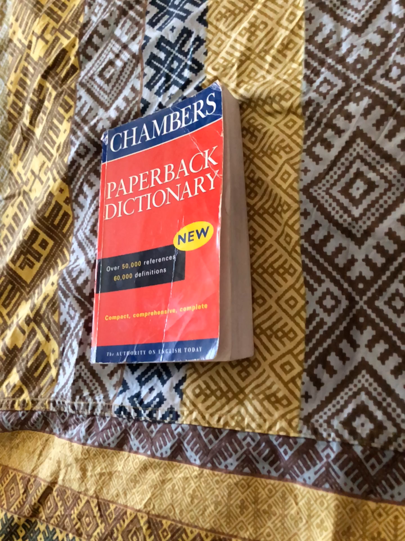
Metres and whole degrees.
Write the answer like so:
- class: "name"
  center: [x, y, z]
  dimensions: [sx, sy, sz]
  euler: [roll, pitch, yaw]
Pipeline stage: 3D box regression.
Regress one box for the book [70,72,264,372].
- class: "book"
  center: [-0.028, -0.021, 0.292]
  dimensions: [0.117, 0.044, 0.166]
  euler: [-11, 76, 33]
